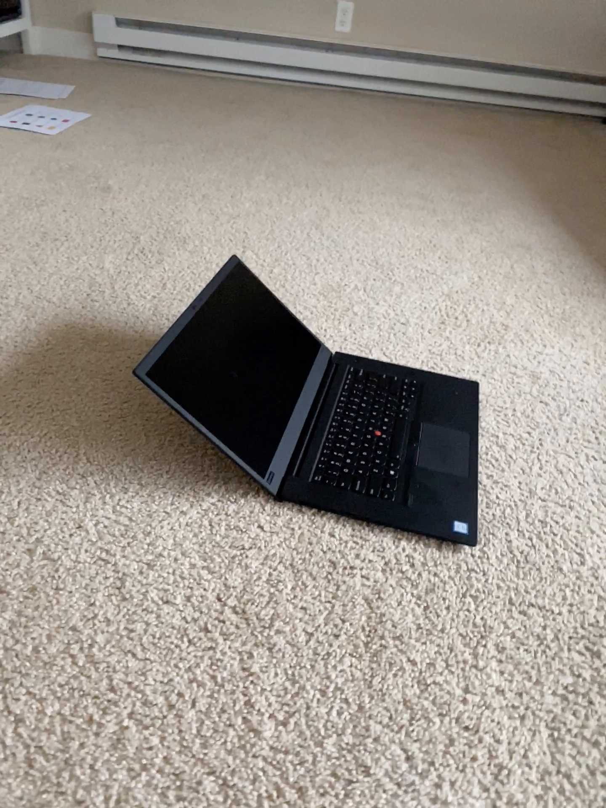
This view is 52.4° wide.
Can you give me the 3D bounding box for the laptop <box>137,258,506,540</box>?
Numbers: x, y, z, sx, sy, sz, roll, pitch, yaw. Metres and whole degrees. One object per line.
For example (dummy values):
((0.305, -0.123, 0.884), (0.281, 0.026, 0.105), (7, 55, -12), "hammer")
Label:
((0.048, -0.037, 0.888), (0.432, 0.141, 0.361), (12, 37, 8), "laptop")
